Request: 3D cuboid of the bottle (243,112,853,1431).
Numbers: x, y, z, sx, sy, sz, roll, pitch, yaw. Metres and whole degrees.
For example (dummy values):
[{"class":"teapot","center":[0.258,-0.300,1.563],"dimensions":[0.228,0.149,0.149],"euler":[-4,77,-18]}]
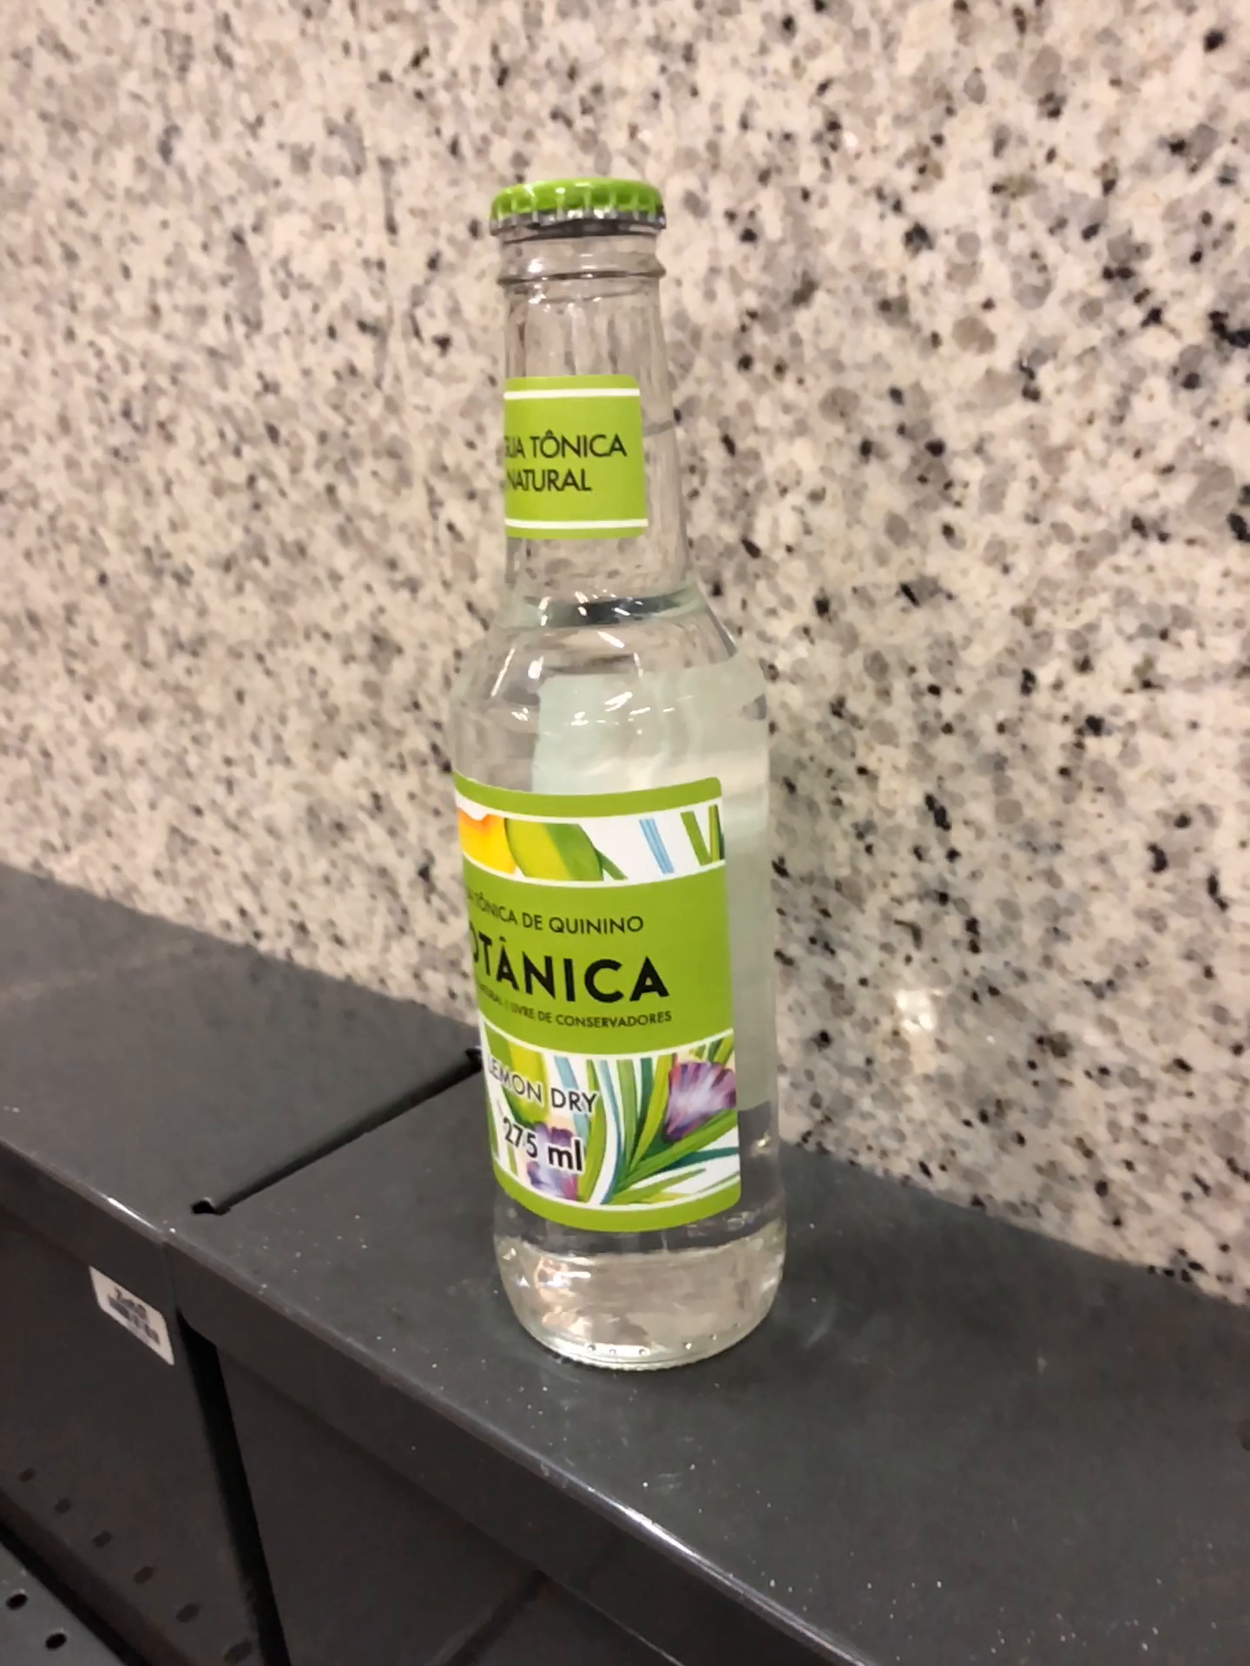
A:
[{"class":"bottle","center":[-0.005,-0.007,0.250],"dimensions":[0.060,0.209,0.060],"euler":[-6,19,2]}]
